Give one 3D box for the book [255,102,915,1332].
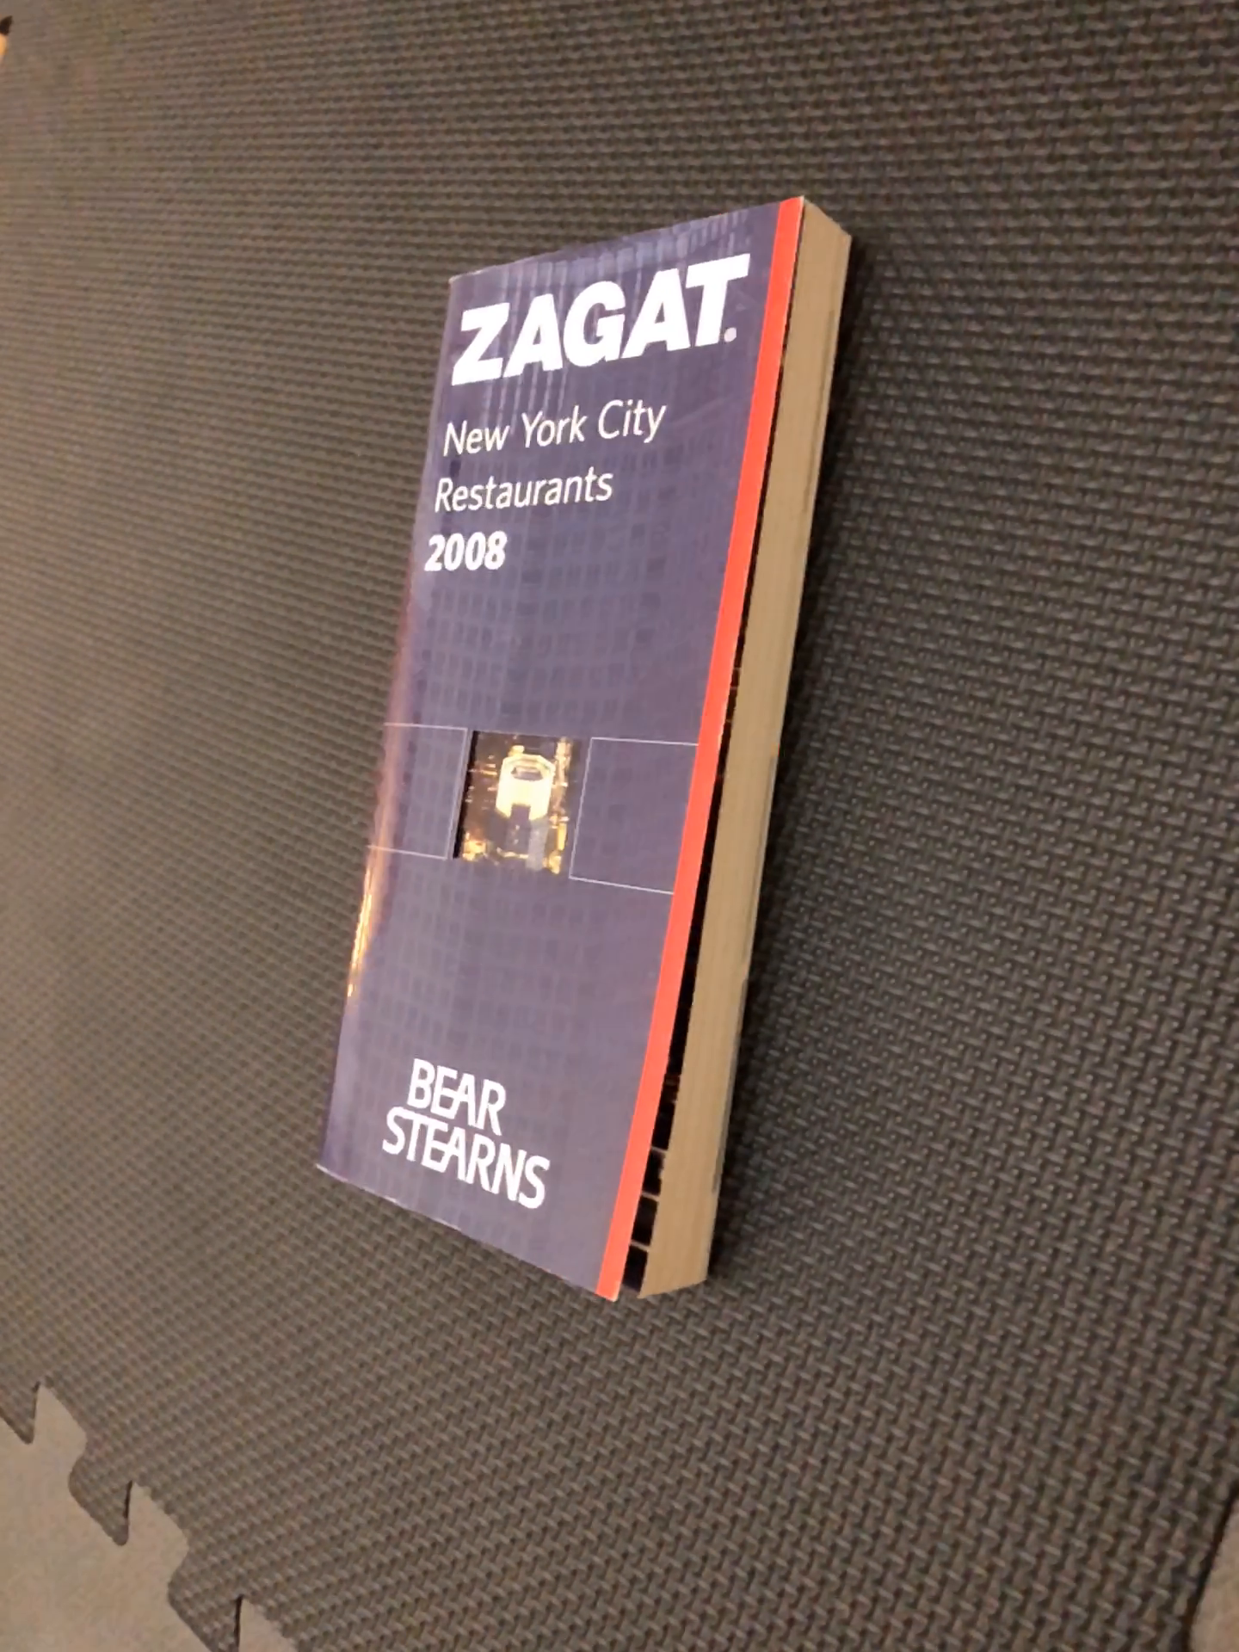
[{"bbox_3d":[-0.013,-0.024,0.292,0.121,0.030,0.220,6,88,38],"label":"book"}]
